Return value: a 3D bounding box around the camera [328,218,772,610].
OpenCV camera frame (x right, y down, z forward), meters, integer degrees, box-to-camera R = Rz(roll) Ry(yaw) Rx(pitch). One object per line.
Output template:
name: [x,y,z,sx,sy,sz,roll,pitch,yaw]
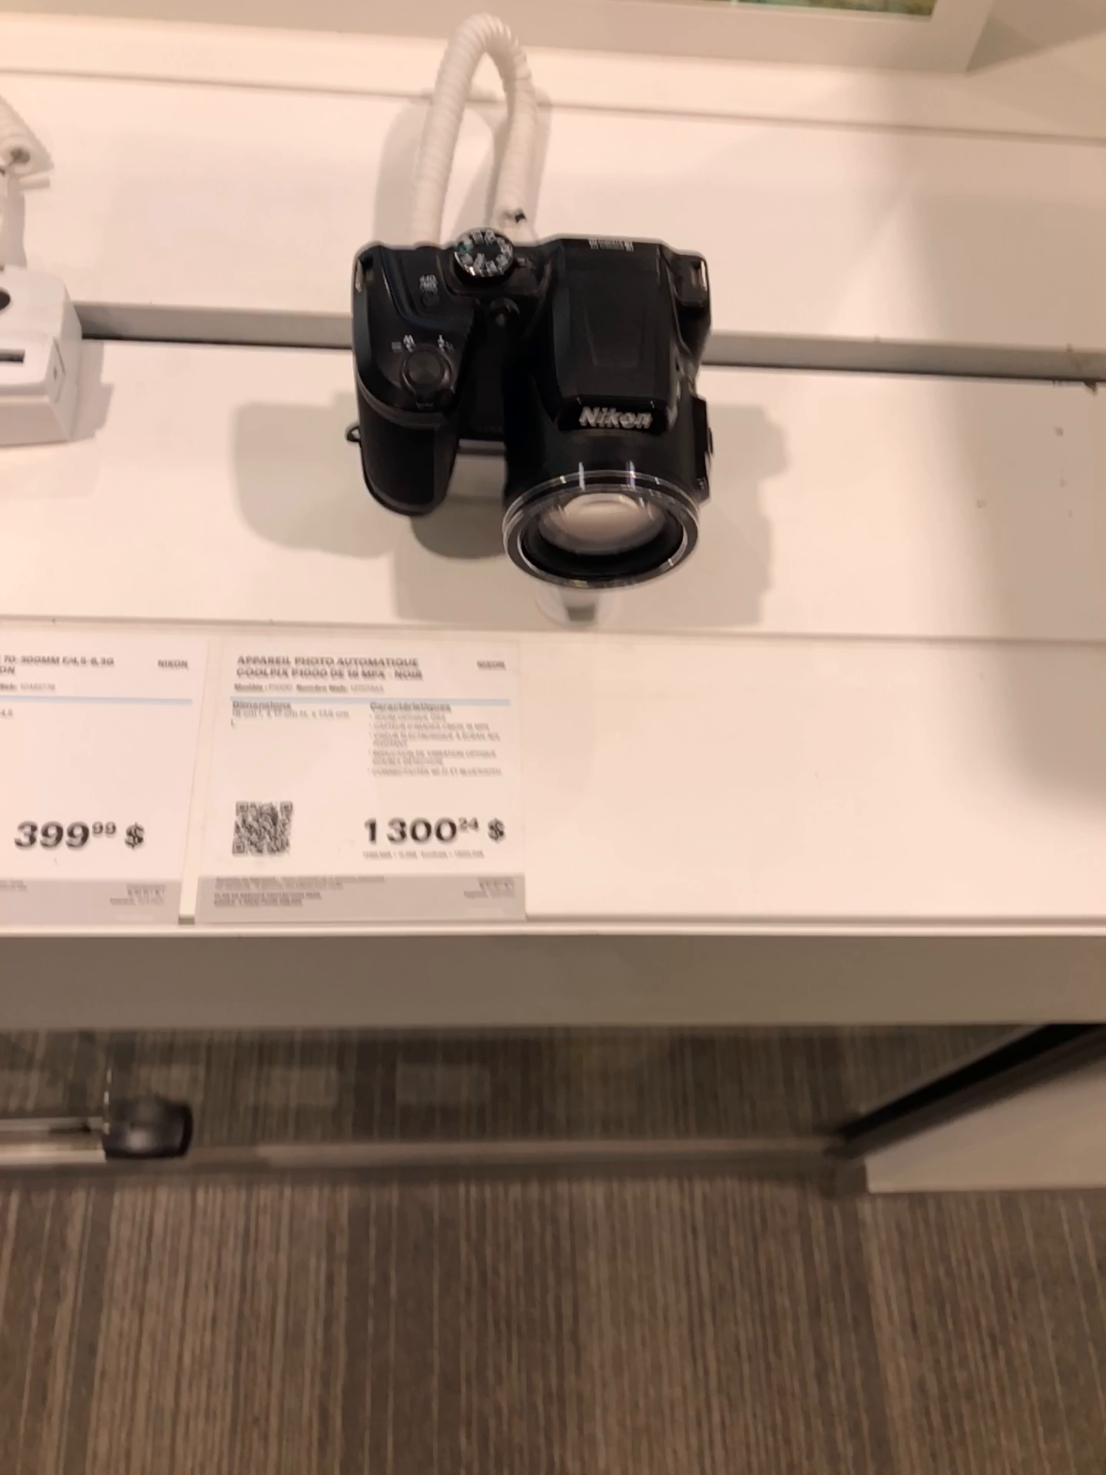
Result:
camera: [-0.005,-0.096,0.372,0.117,0.068,0.092,0,63,-6]
